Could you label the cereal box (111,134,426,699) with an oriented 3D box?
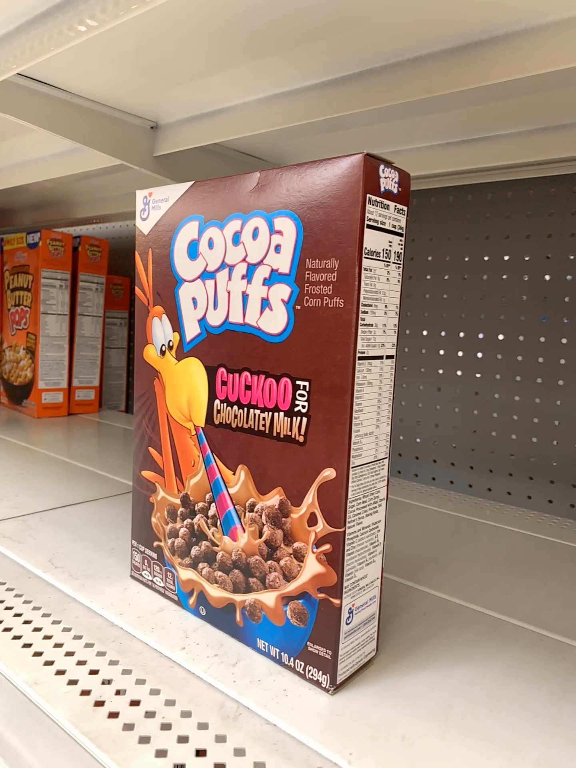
[{"bbox_3d":[-0.028,0.009,0.355,0.200,0.260,0.050,8,8,42],"label":"cereal box"}]
